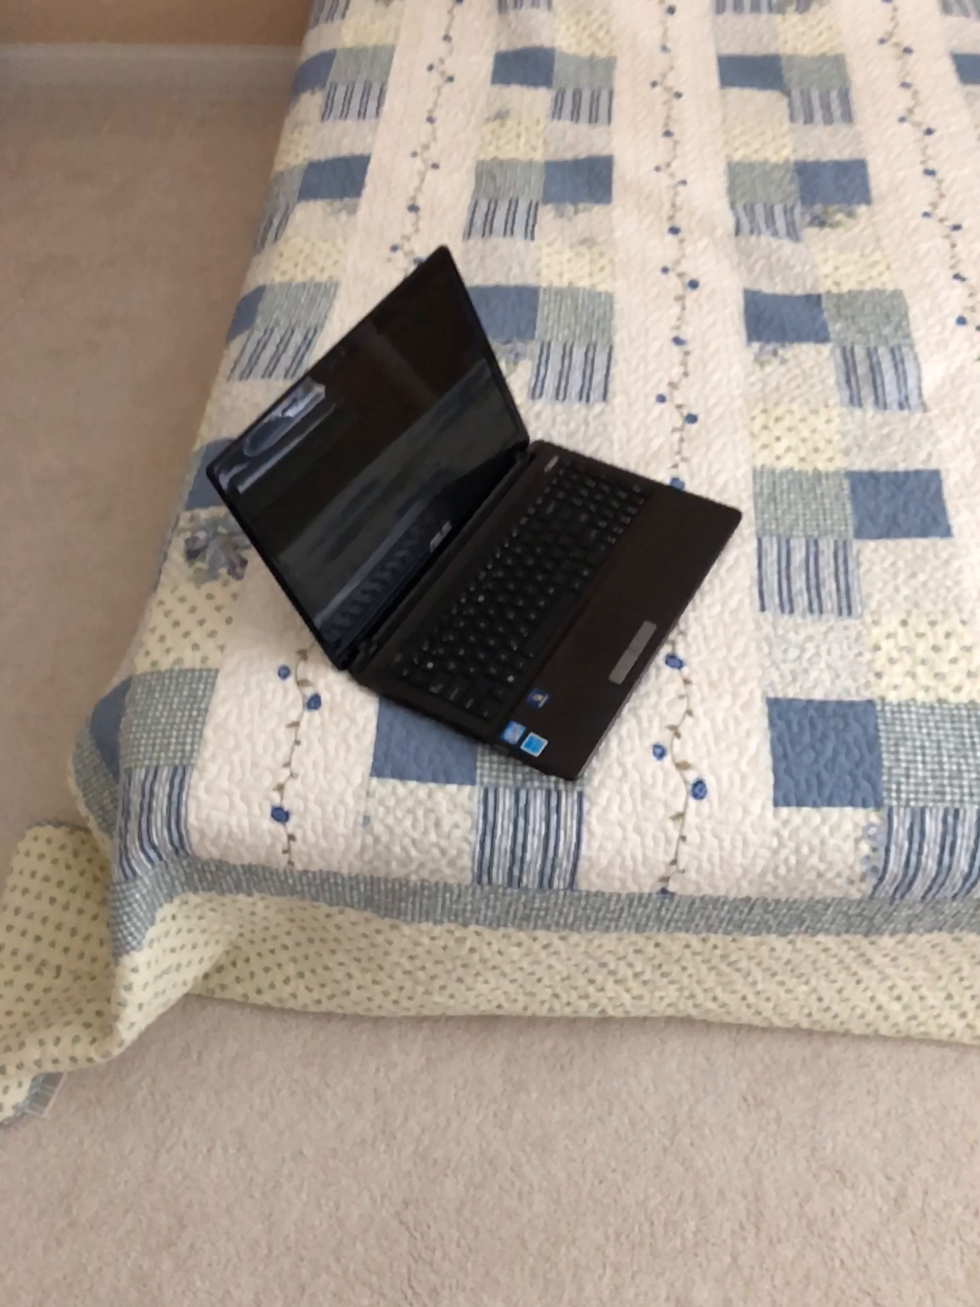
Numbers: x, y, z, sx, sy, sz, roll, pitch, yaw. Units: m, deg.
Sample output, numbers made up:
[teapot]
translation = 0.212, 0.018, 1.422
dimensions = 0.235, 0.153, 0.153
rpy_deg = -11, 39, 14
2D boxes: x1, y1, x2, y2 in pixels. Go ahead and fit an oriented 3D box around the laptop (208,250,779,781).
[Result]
[laptop]
translation = 0.014, -0.144, 0.992
dimensions = 0.350, 0.193, 0.358
rpy_deg = 25, 58, 18
